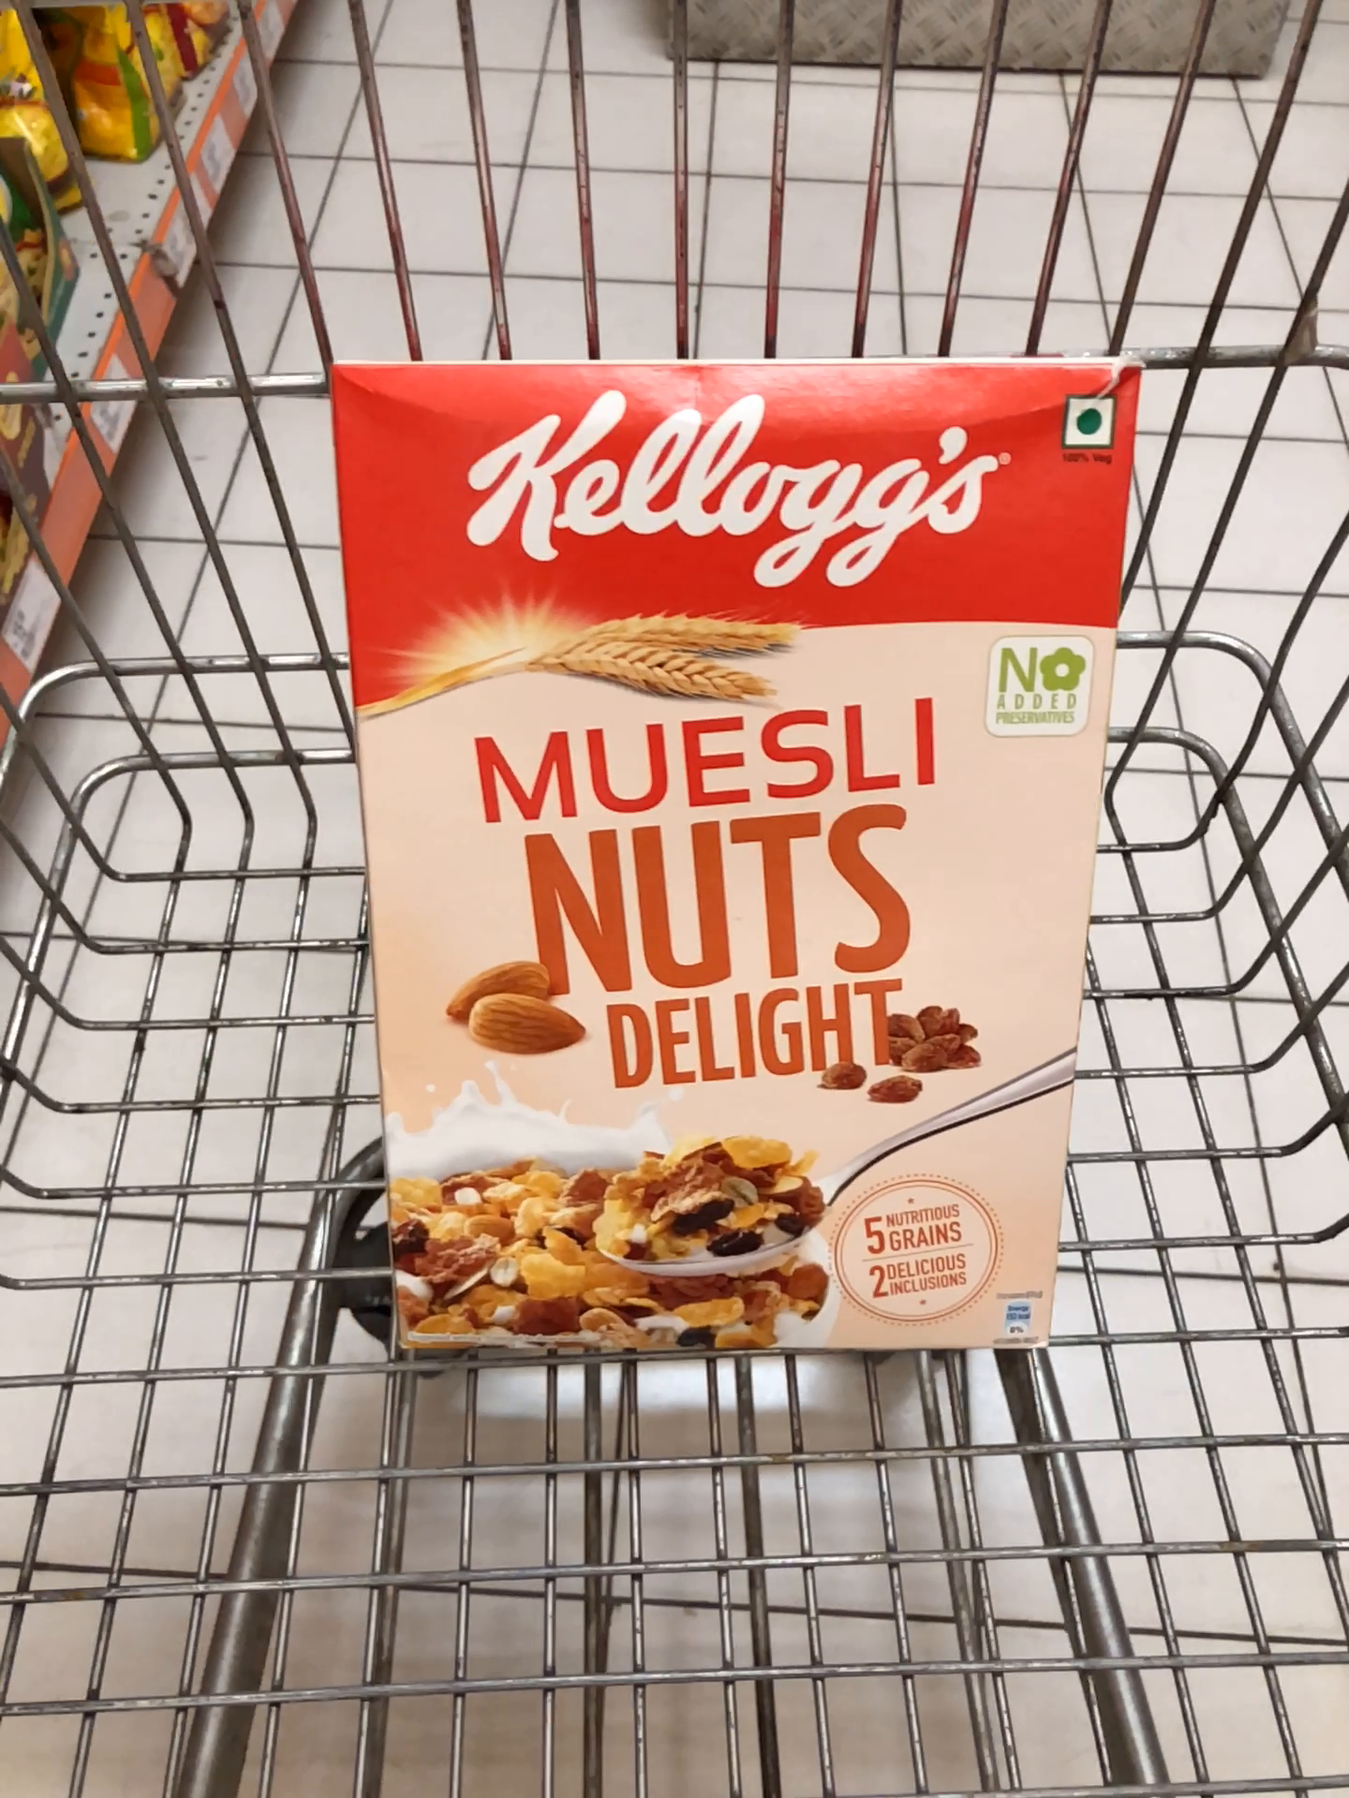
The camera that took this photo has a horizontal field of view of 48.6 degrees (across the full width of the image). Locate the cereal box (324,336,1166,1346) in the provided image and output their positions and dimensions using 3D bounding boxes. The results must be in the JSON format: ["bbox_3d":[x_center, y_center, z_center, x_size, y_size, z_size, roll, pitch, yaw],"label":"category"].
[{"bbox_3d":[0.015,-0.012,0.391,0.180,0.249,0.070,0,18,0],"label":"cereal box"}]
